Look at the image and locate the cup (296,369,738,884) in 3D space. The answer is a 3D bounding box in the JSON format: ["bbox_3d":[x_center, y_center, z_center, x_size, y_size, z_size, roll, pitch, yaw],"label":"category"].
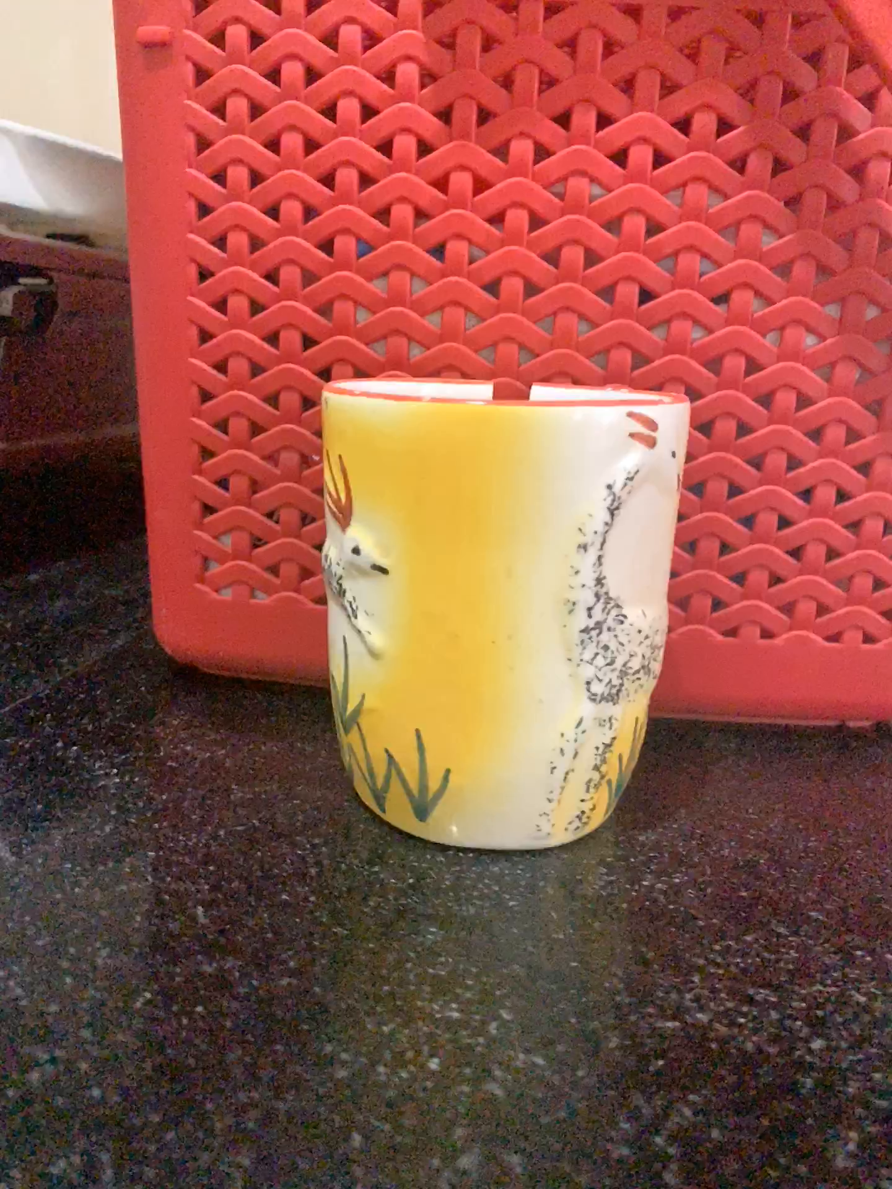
[{"bbox_3d":[0.012,0.000,0.224,0.080,0.100,0.080,3,14,-1],"label":"cup"}]
